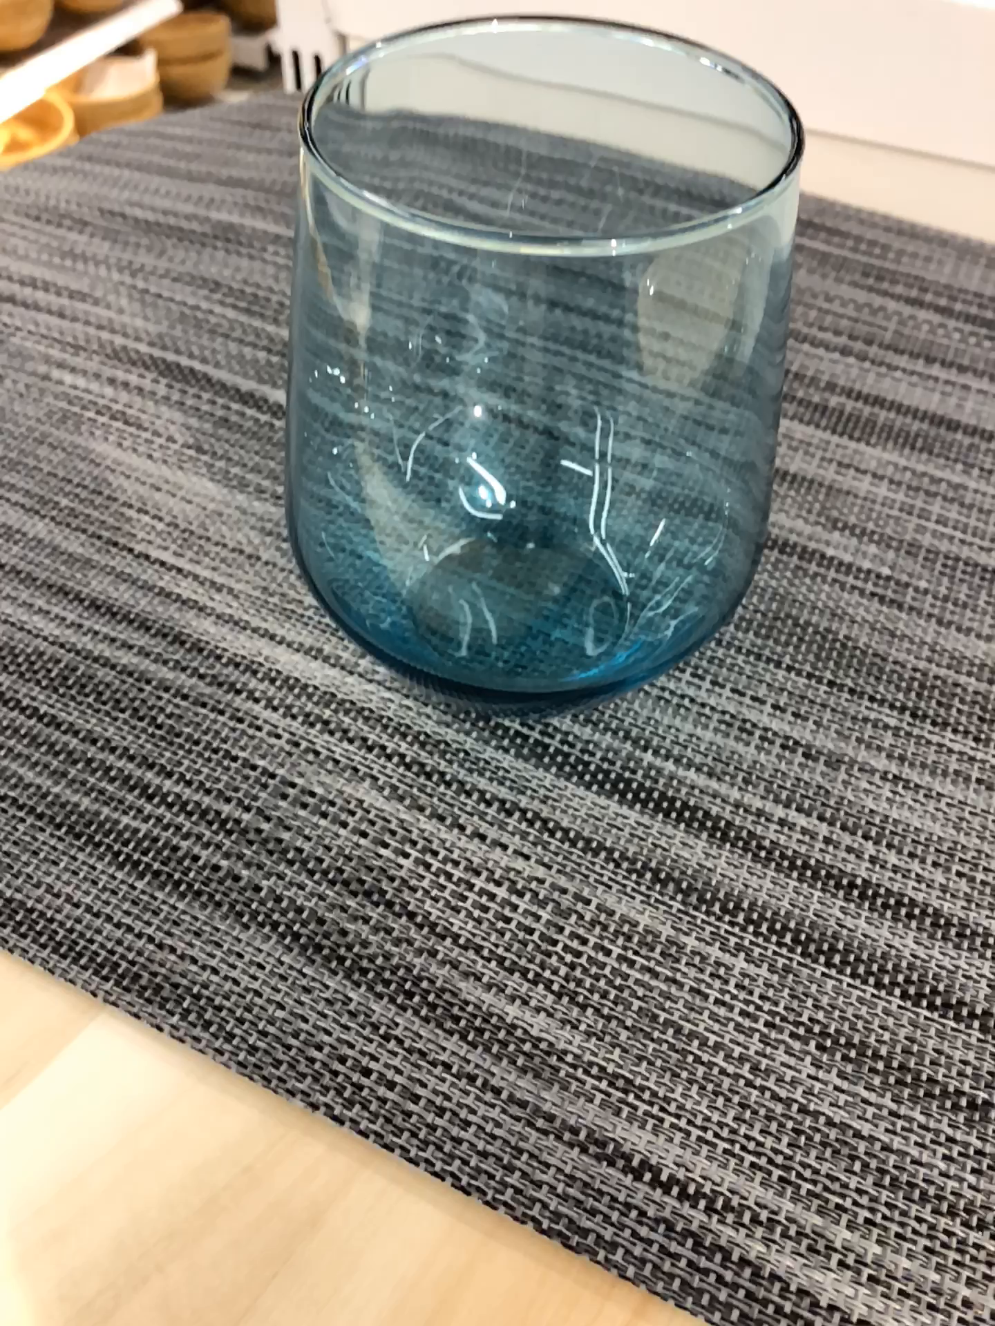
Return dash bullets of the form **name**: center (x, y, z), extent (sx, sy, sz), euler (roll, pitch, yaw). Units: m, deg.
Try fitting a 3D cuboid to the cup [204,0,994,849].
- **cup**: center (0.020, -0.051, 0.214), extent (0.120, 0.120, 0.120), euler (1, 48, -1)
